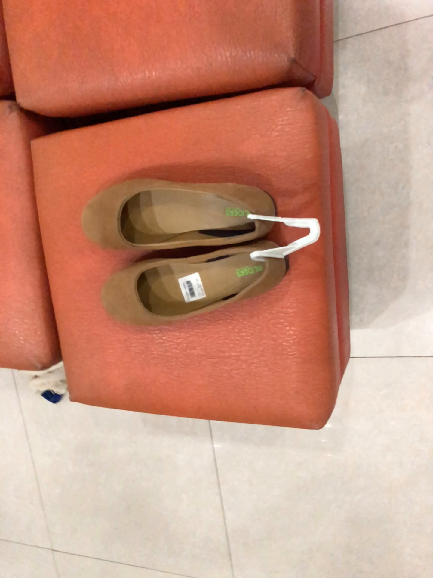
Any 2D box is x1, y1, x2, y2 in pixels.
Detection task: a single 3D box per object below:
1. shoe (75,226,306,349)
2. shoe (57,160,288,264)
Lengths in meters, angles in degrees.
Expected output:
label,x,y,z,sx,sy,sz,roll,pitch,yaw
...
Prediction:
label,x,y,z,sx,sy,sz,roll,pitch,yaw
shoe,-0.040,0.003,0.627,0.287,0.070,0.094,-12,98,25
shoe,-0.061,-0.094,0.613,0.287,0.070,0.097,-2,100,23
